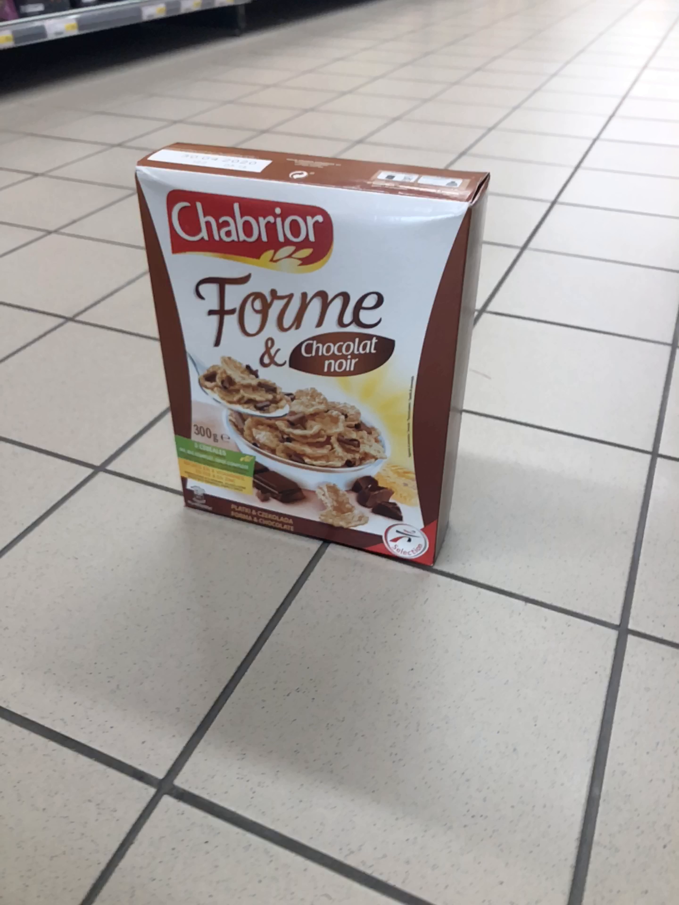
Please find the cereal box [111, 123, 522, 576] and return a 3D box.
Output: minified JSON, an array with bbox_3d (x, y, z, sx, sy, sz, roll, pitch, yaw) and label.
[{"bbox_3d":[-0.013,-0.061,0.476,0.210,0.248,0.070,12,37,16],"label":"cereal box"}]
